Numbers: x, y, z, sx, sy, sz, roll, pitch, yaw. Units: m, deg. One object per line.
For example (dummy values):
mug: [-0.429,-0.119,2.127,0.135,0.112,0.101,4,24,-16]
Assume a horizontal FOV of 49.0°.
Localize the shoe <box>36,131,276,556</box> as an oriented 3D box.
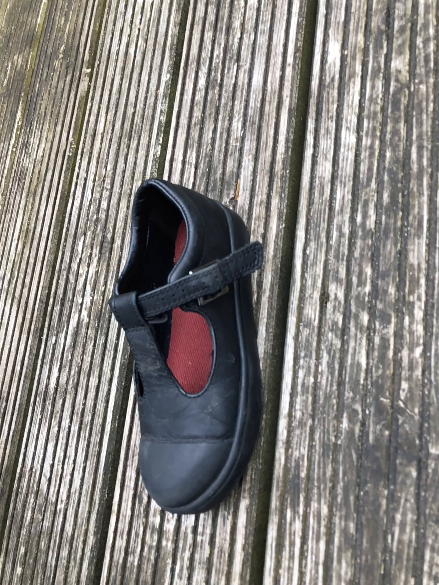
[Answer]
shoe: [-0.030,0.025,0.274,0.080,0.080,0.193,-4,75,40]
